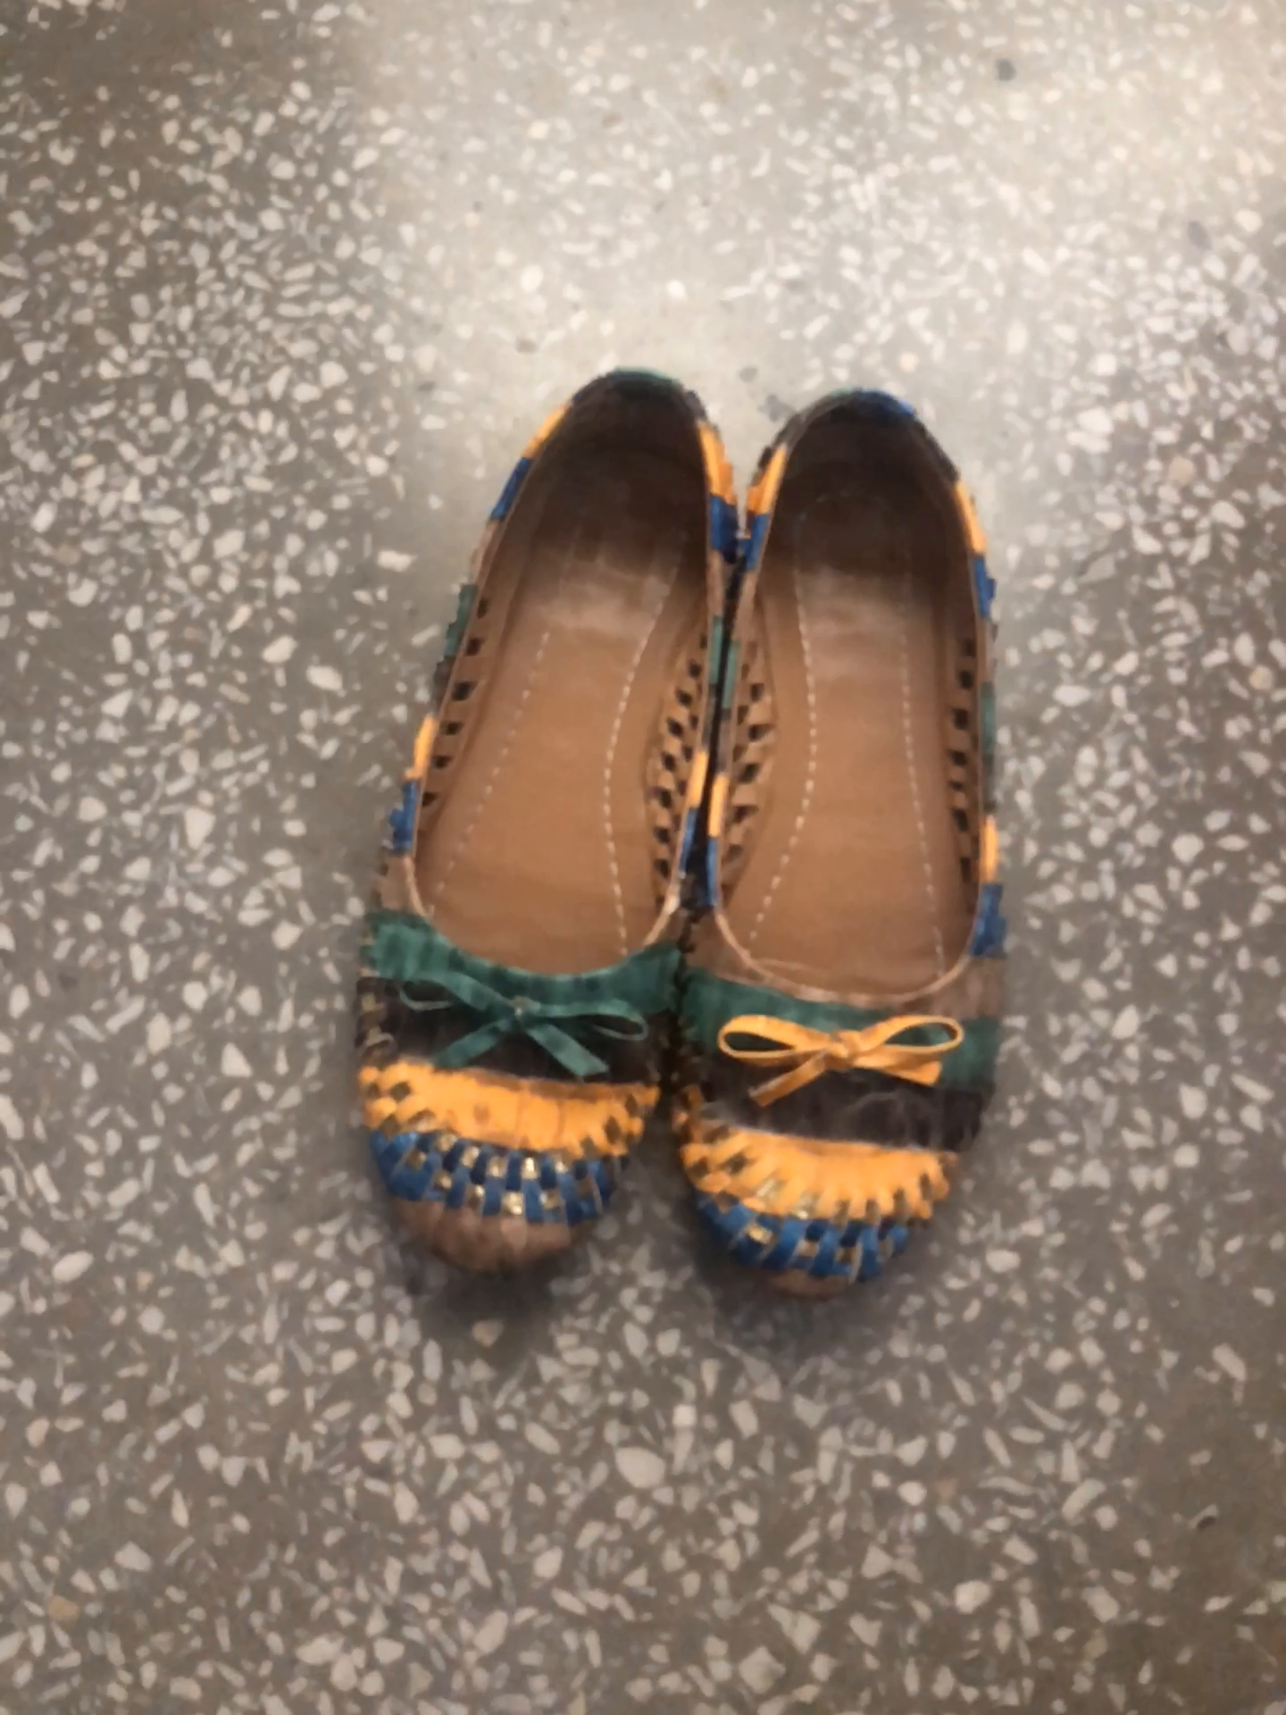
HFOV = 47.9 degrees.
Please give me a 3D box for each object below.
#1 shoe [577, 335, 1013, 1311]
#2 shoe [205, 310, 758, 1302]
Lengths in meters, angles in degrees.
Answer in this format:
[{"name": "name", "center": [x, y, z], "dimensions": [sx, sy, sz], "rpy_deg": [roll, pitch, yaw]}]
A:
[{"name": "shoe", "center": [0.041, -0.009, 0.386], "dimensions": [0.090, 0.074, 0.236], "rpy_deg": [5, 77, 1]}, {"name": "shoe", "center": [-0.035, -0.014, 0.386], "dimensions": [0.090, 0.074, 0.236], "rpy_deg": [10, 77, 2]}]
